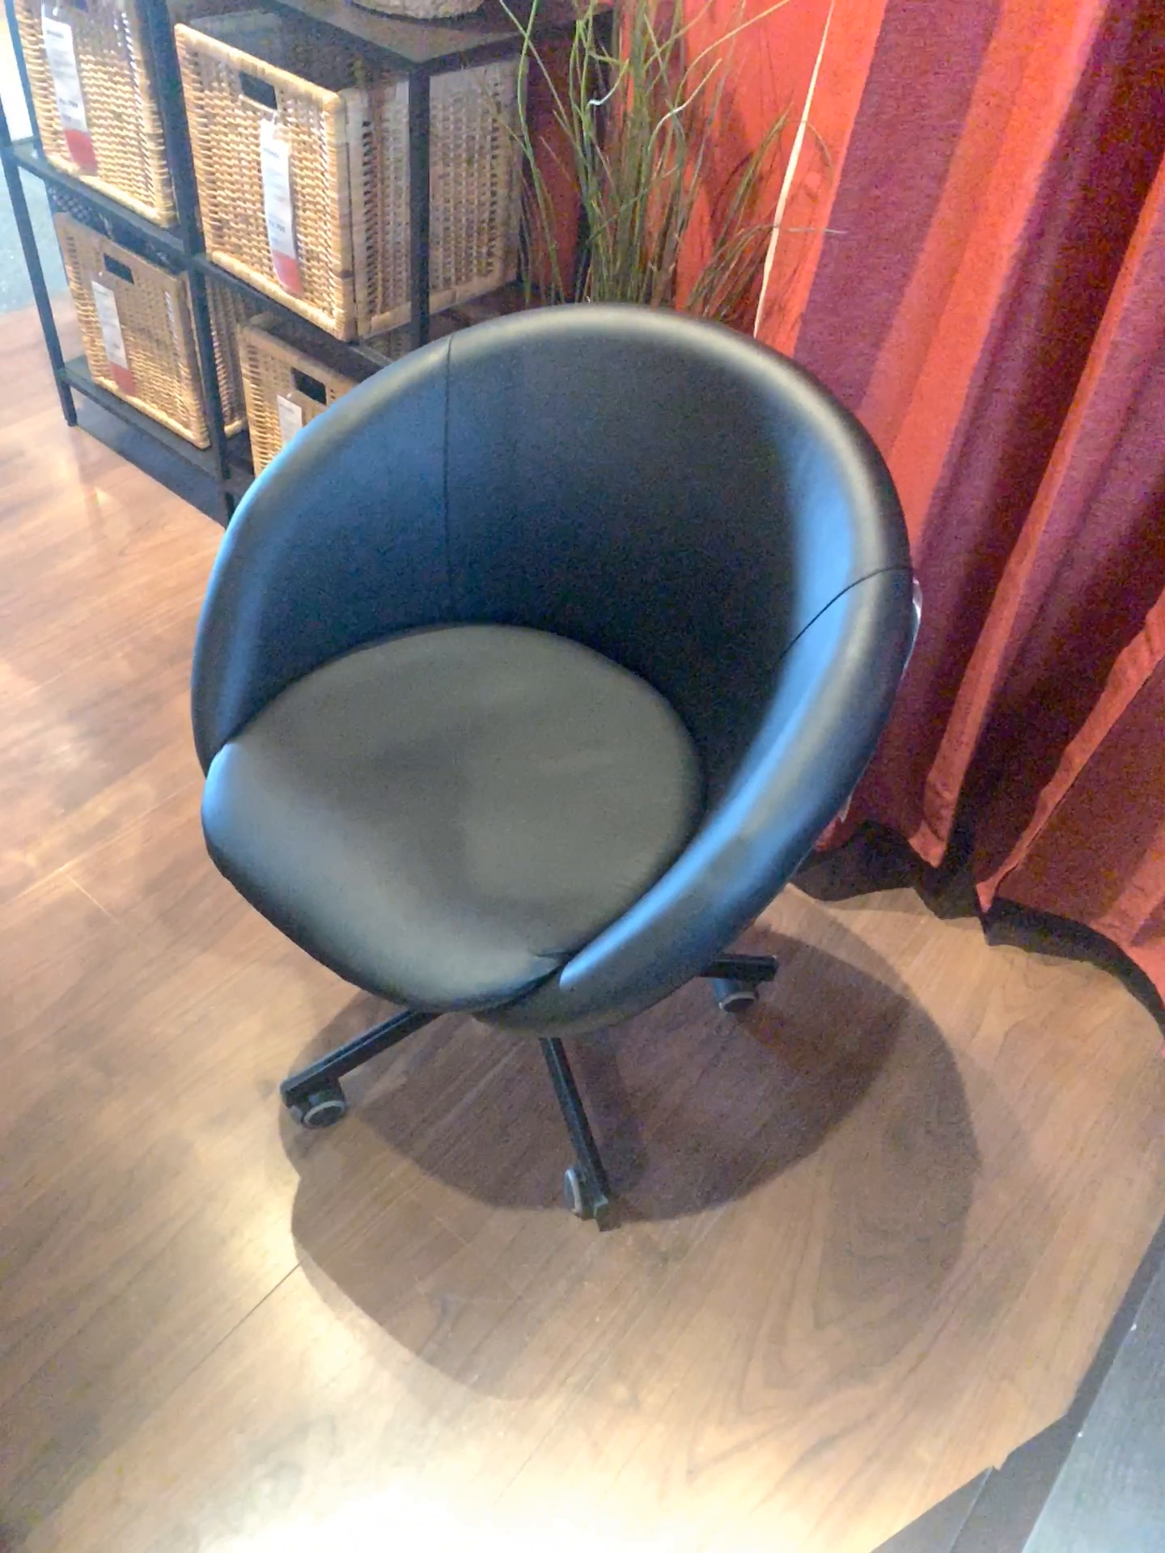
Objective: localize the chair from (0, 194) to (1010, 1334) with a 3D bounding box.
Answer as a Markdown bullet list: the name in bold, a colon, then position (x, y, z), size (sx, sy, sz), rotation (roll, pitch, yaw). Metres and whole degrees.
- **chair**: position (-0.105, -0.016, 1.132), size (0.621, 0.698, 0.581), rotation (29, 51, 18)
